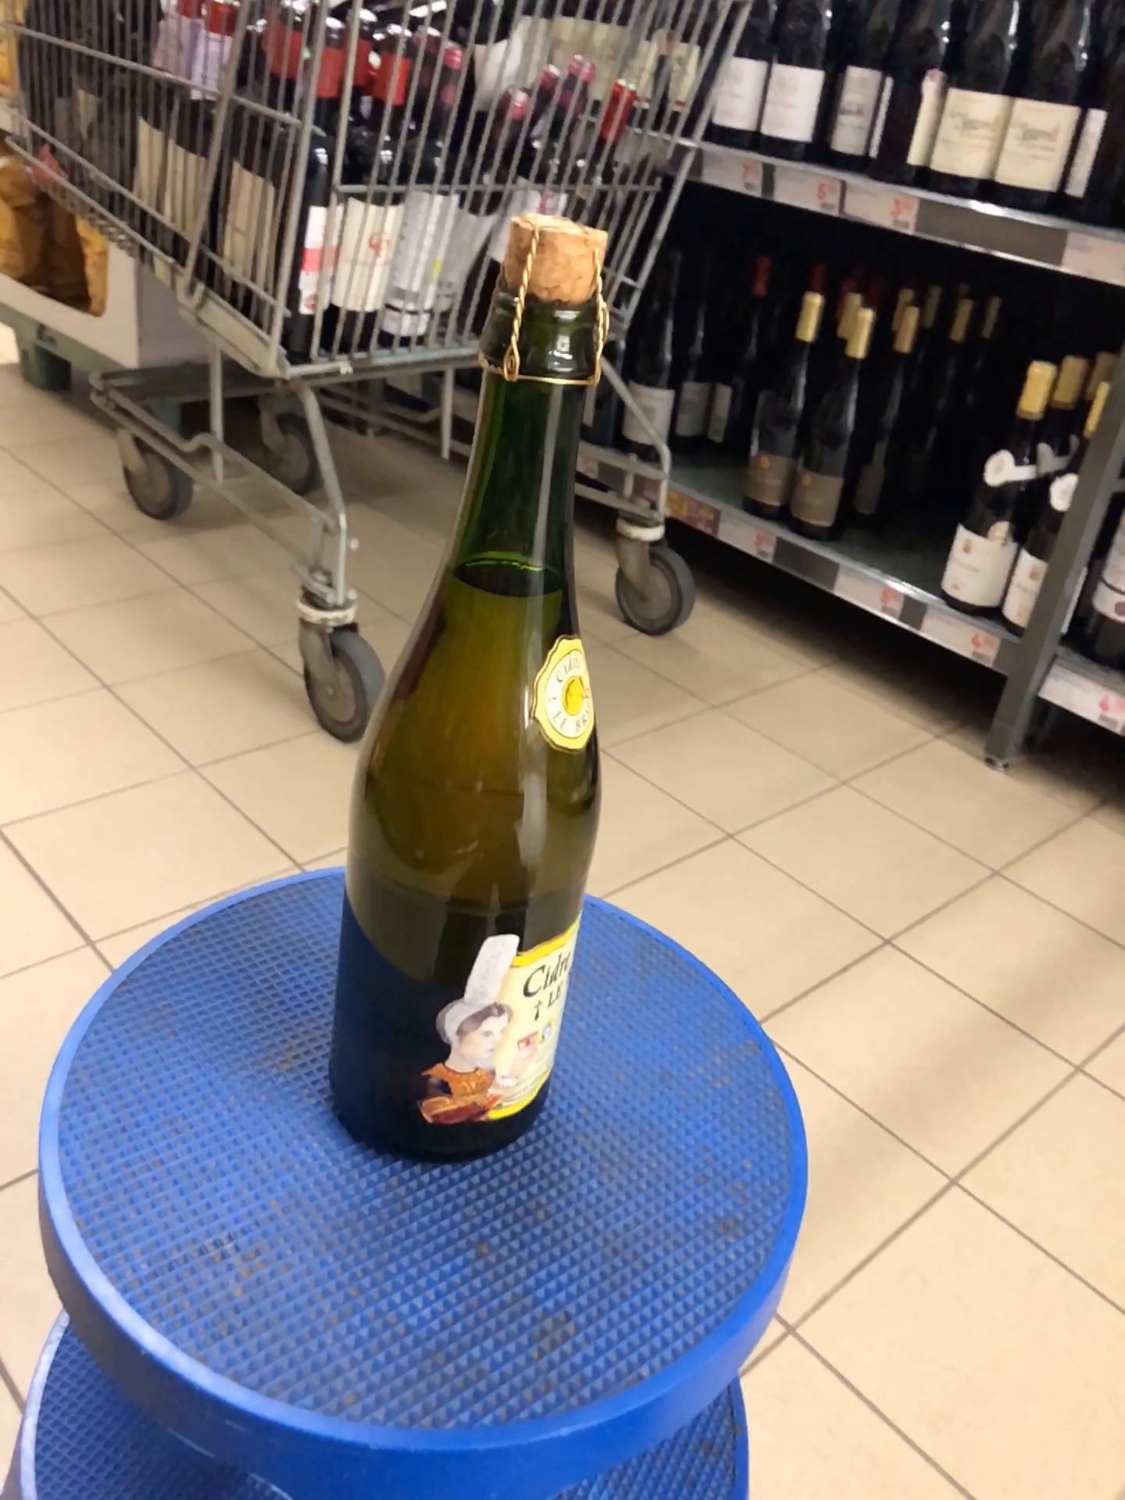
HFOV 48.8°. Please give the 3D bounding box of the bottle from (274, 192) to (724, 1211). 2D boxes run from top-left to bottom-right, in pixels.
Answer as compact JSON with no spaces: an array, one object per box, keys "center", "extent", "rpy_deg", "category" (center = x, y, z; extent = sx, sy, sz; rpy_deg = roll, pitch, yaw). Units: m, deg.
[{"center":[-0.028,-0.004,0.390],"extent":[0.090,0.298,0.091],"rpy_deg":[6,30,-4],"category":"bottle"}]
